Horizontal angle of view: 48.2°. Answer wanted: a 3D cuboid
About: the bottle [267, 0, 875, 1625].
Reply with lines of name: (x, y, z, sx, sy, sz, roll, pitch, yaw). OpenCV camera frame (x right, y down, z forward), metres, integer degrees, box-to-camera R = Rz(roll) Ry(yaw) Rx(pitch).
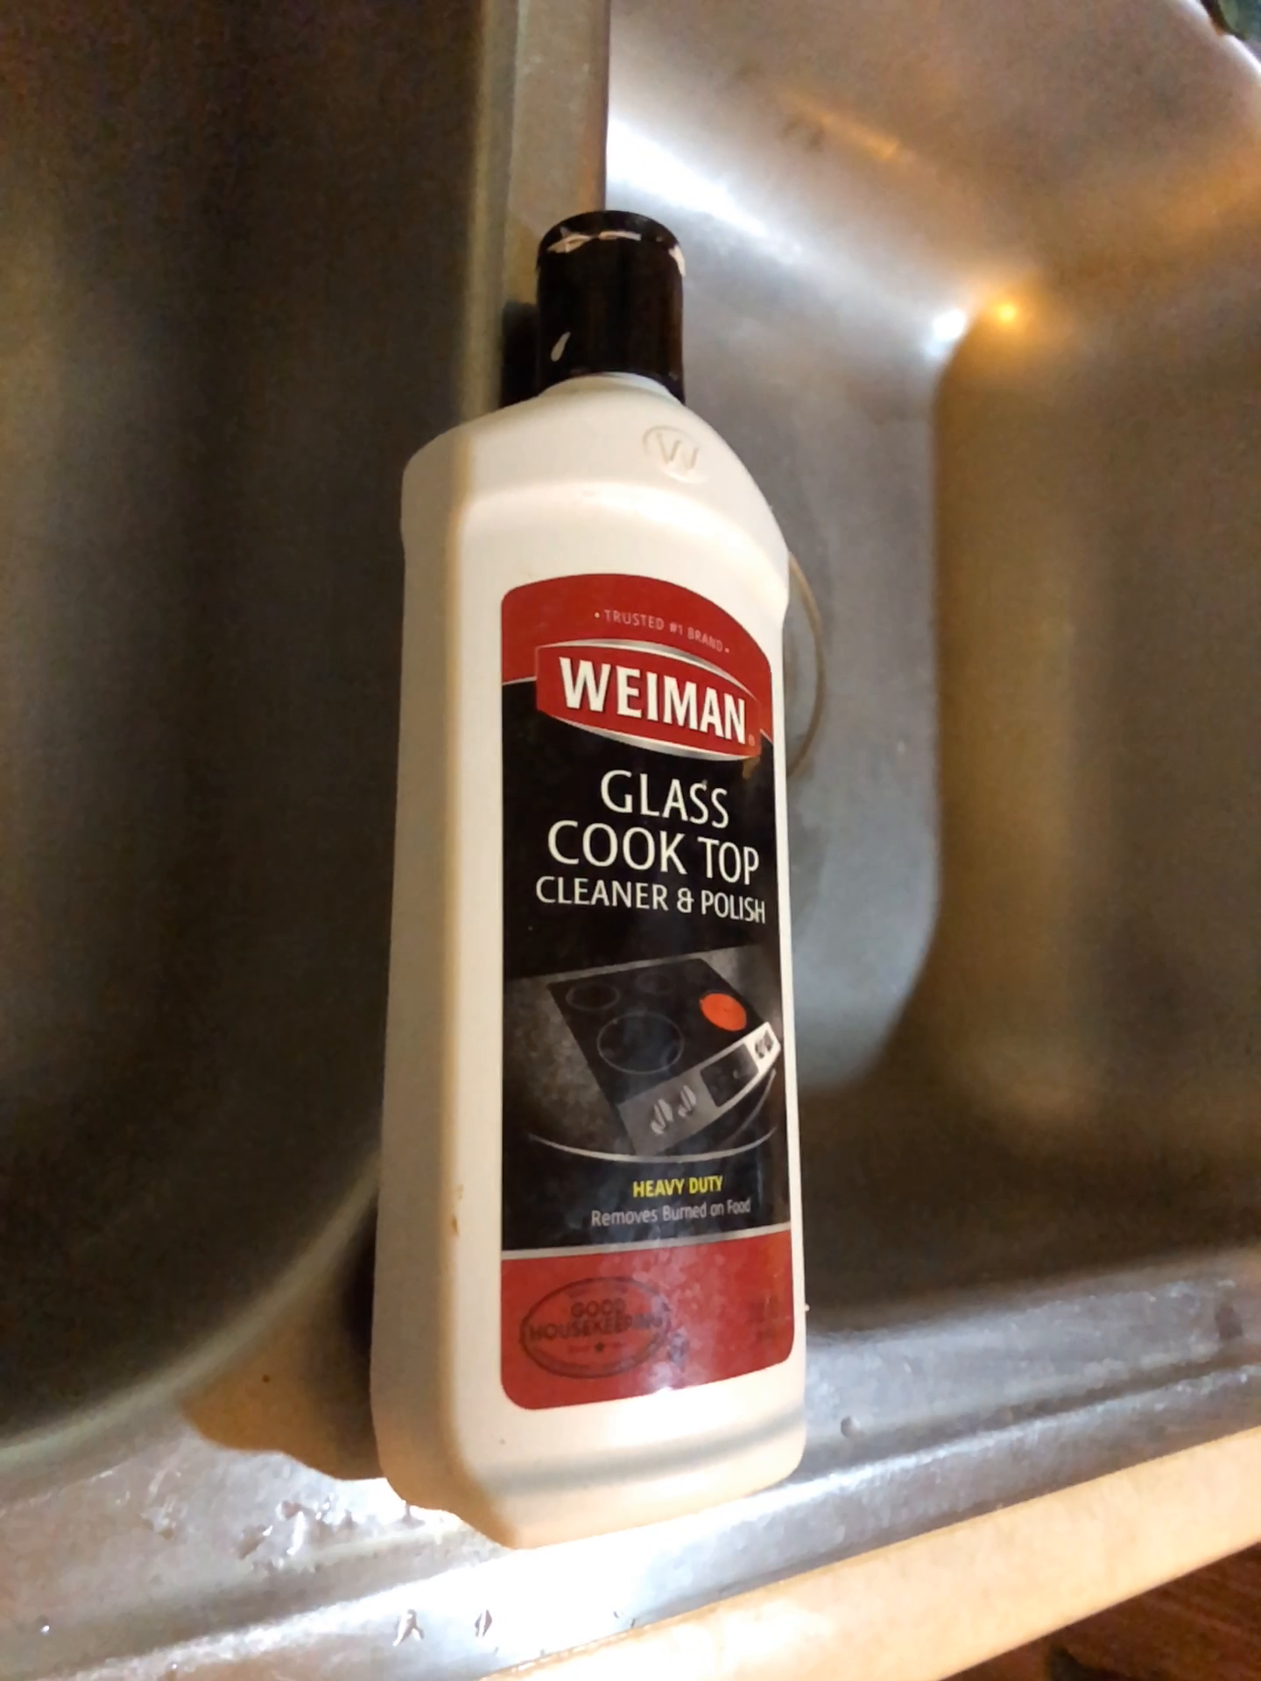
bottle: (-0.009, -0.015, 0.236, 0.080, 0.050, 0.240, 6, 79, -39)
